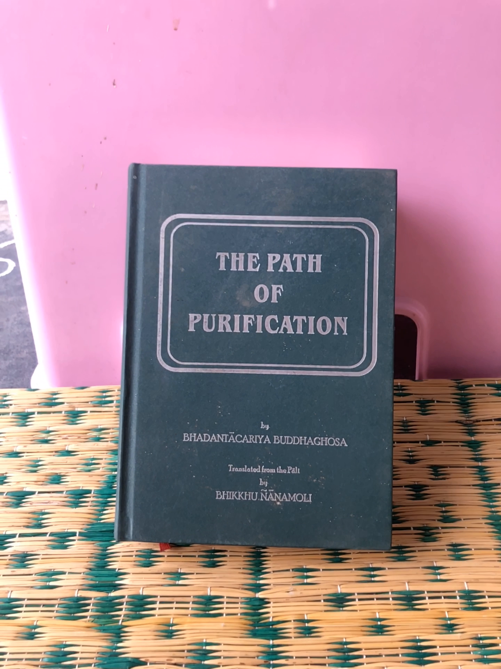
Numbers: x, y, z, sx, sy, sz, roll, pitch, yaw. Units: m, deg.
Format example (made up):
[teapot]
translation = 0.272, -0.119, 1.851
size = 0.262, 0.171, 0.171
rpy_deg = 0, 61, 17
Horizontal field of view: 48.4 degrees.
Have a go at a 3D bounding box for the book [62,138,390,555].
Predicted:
[book]
translation = -0.007, 0.004, 0.325
size = 0.160, 0.080, 0.210
rpy_deg = 2, 82, 4
